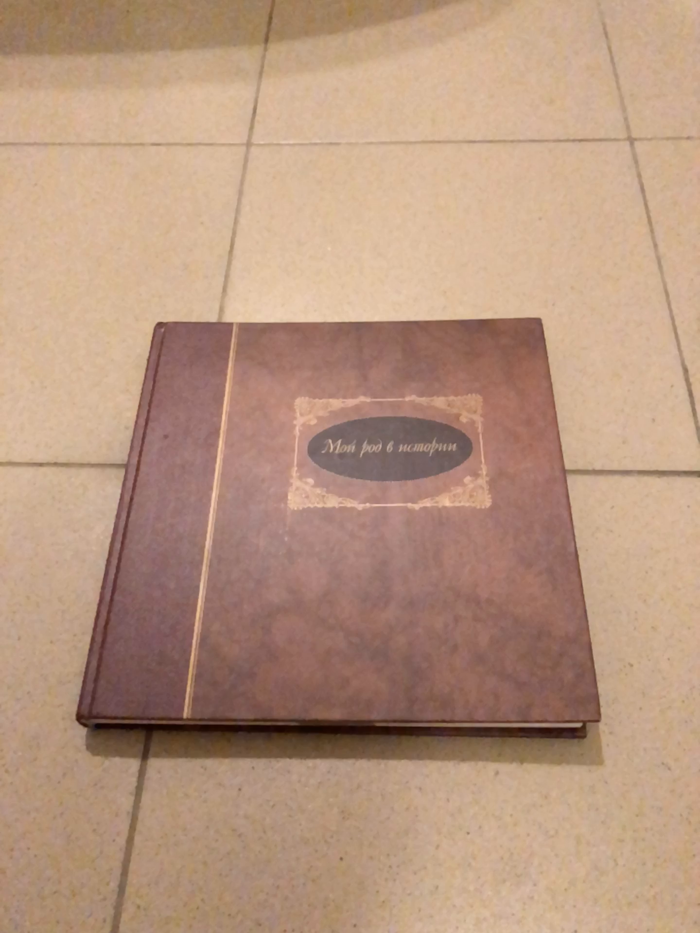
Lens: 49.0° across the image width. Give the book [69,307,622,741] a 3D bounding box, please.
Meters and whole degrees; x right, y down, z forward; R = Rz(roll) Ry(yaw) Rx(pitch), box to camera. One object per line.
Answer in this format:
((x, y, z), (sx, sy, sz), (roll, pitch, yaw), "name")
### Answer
((-0.002, 0.019, 0.422), (0.244, 0.038, 0.245), (-1, 57, 3), "book")
